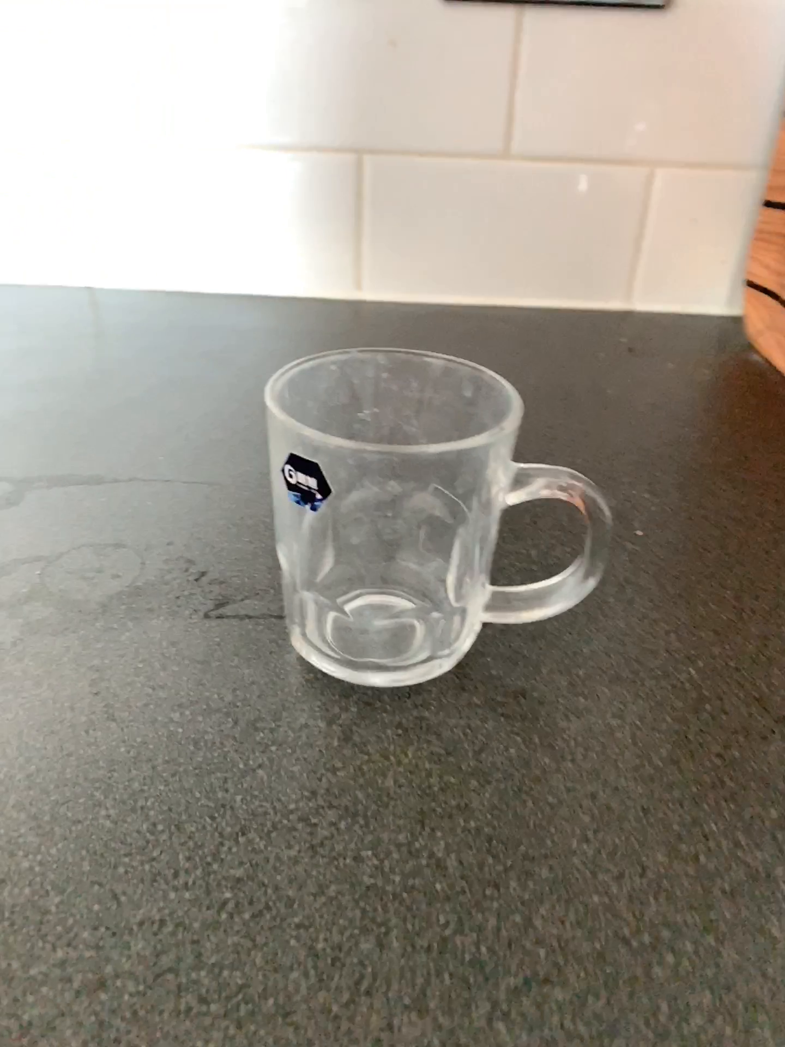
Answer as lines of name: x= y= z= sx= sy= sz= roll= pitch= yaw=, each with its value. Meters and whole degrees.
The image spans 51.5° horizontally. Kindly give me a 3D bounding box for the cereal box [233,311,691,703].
cereal box: x=0.015 y=-0.008 z=0.252 sx=0.110 sy=0.089 sz=0.081 roll=2 pitch=31 yaw=-2
